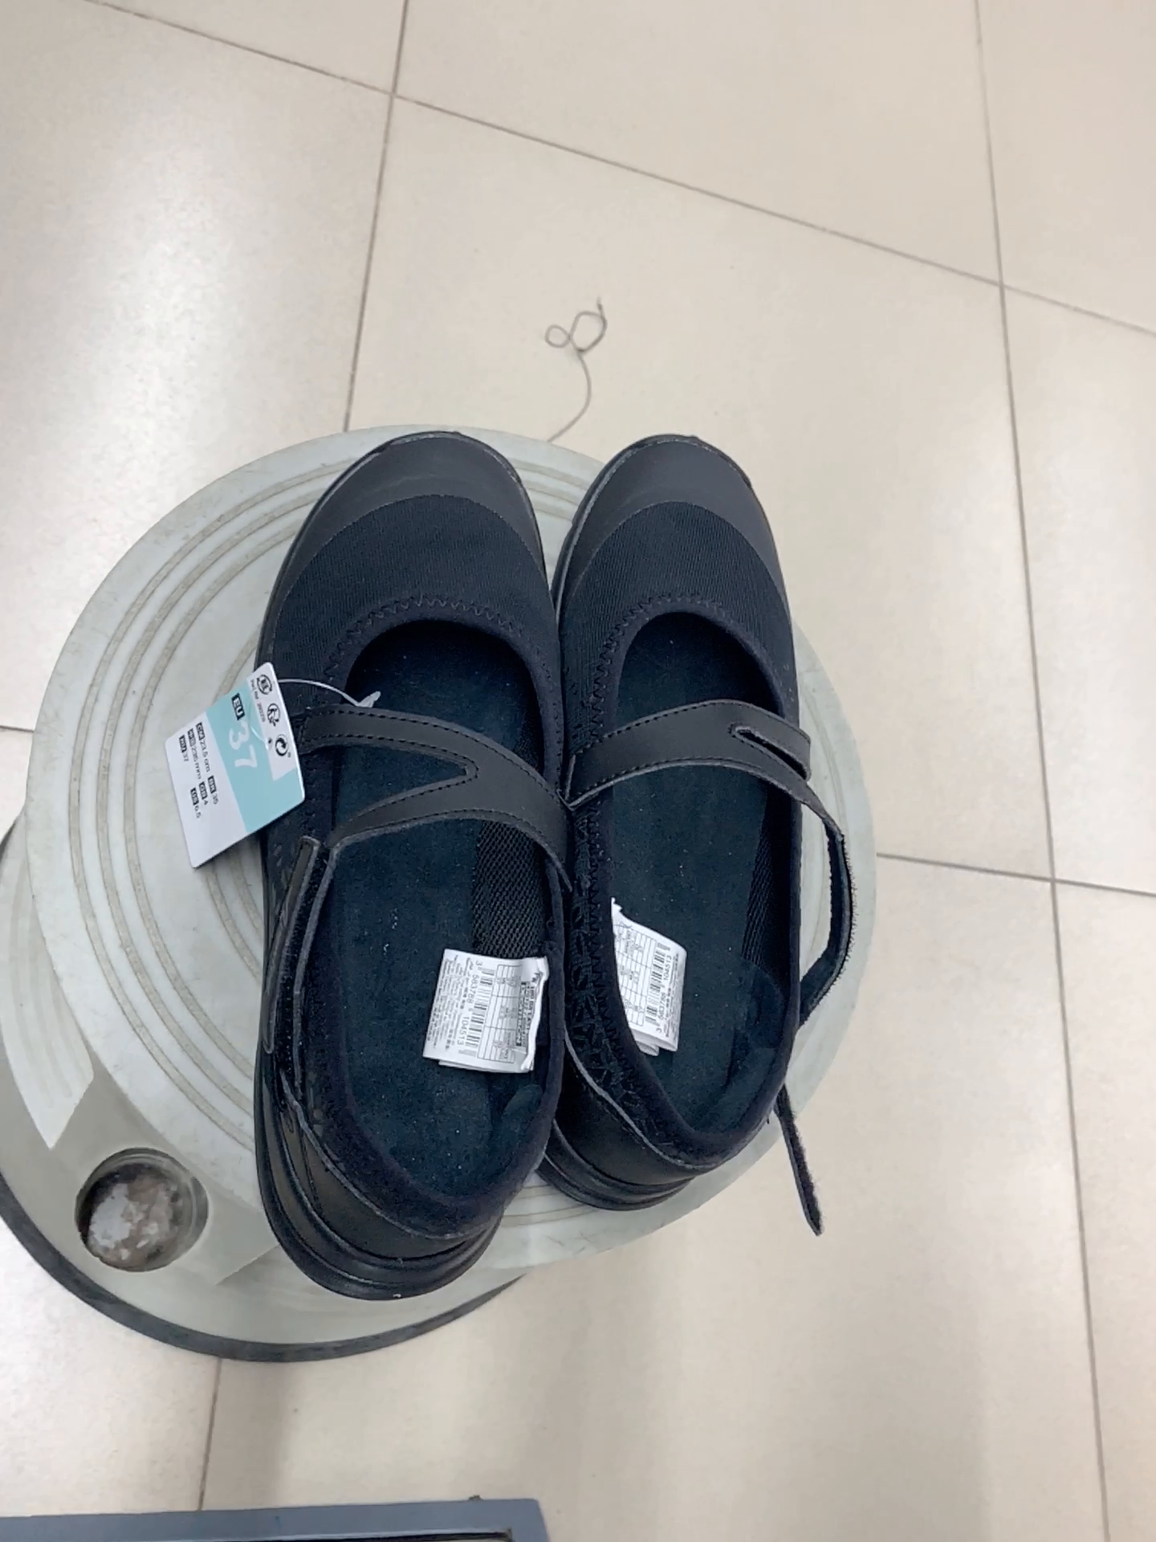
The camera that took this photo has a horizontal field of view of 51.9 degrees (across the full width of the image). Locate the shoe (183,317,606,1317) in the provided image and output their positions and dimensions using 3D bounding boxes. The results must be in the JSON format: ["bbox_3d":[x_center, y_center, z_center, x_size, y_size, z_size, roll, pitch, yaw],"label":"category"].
[{"bbox_3d":[-0.048,0.011,0.334,0.090,0.080,0.250,7,70,-17],"label":"shoe"}]

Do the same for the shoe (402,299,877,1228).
[{"bbox_3d":[0.023,-0.002,0.358,0.100,0.080,0.250,12,68,-15],"label":"shoe"}]
